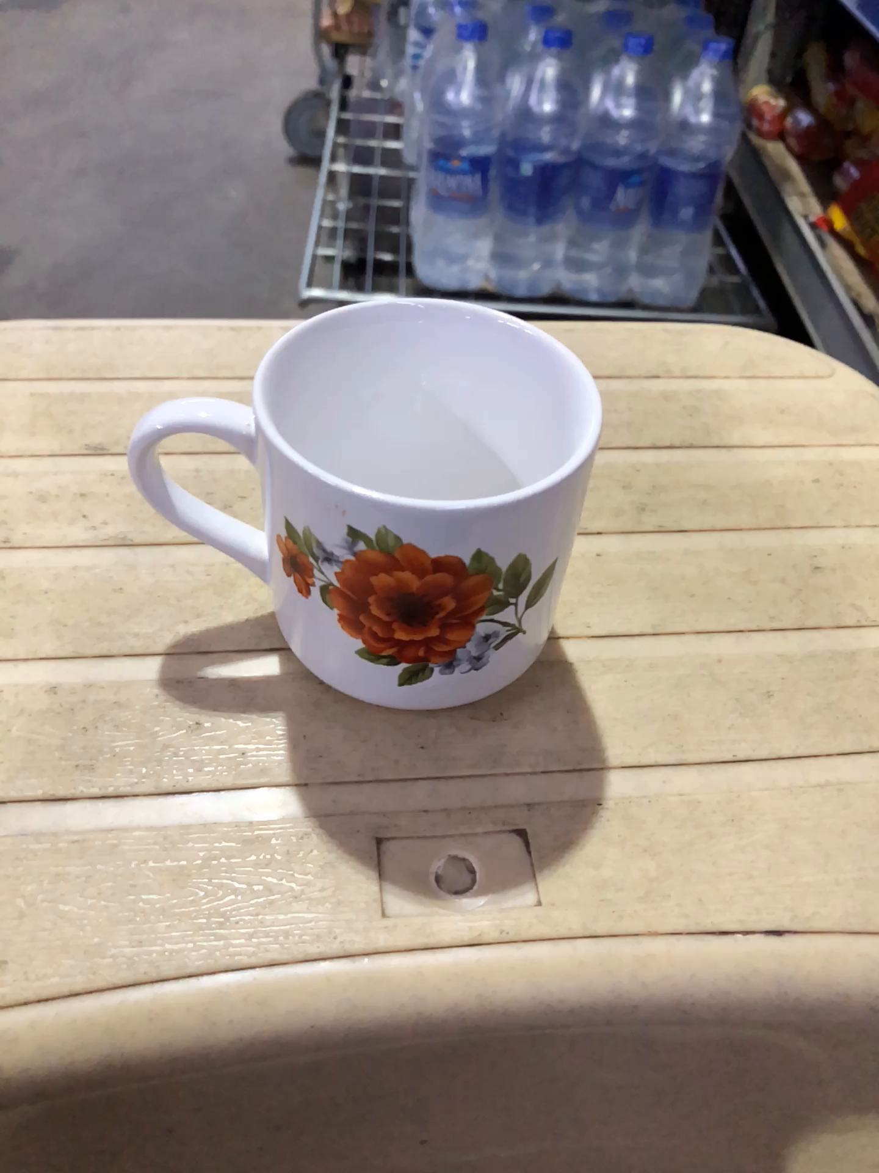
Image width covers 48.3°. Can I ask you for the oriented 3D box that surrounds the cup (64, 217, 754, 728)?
[{"bbox_3d":[-0.005,-0.022,0.188,0.100,0.060,0.070,4,45,-2],"label":"cup"}]
